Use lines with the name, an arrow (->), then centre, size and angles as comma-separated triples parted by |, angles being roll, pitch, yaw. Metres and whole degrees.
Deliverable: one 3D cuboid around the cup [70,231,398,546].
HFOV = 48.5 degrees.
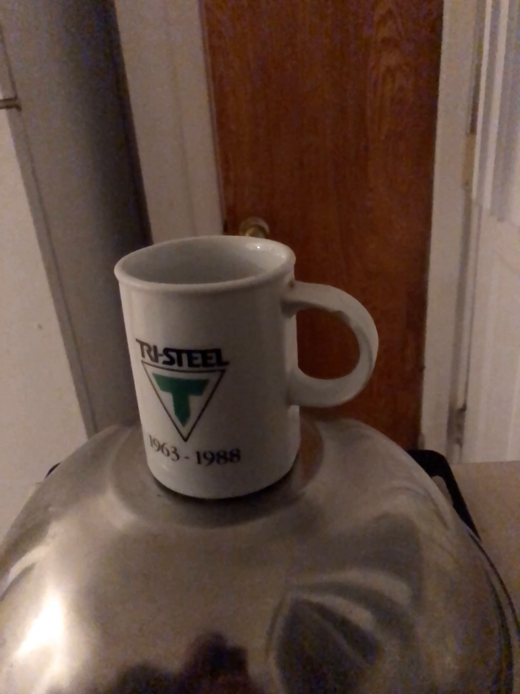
cup -> -0.007, 0.010, 0.259 | 0.116, 0.099, 0.070 | 10, 29, 27
